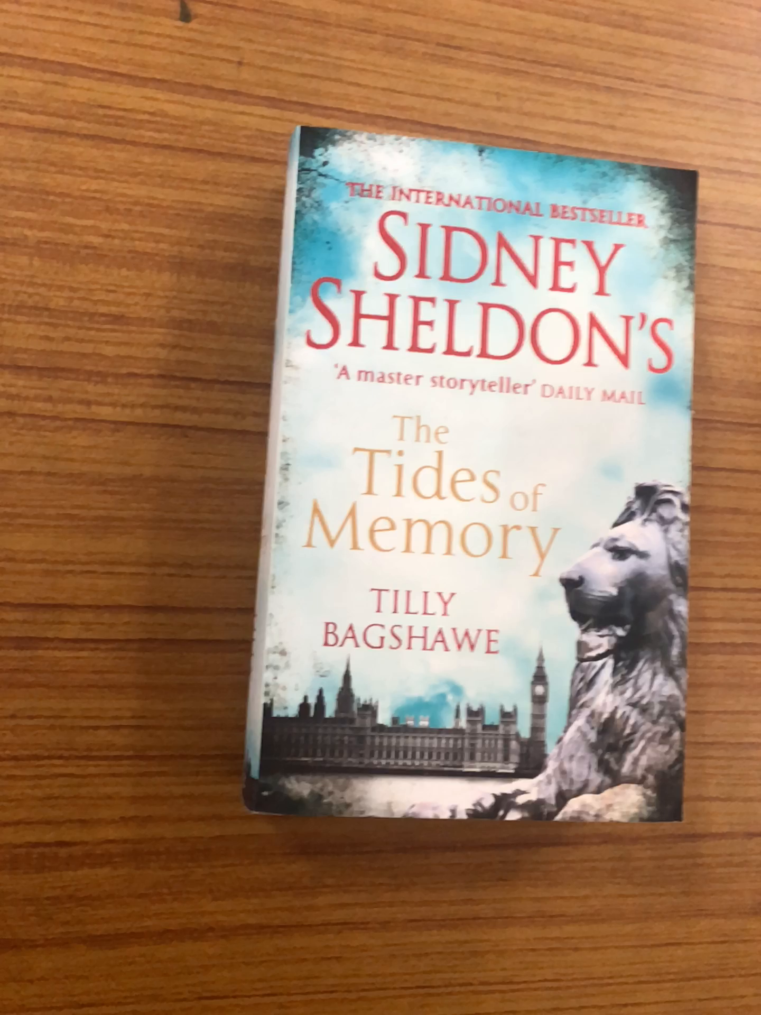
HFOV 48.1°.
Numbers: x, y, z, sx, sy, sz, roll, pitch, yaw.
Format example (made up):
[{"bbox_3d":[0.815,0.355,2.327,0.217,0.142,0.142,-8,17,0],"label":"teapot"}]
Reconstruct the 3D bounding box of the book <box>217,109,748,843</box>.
[{"bbox_3d":[0.027,-0.006,0.224,0.122,0.038,0.168,4,85,-7],"label":"book"}]
